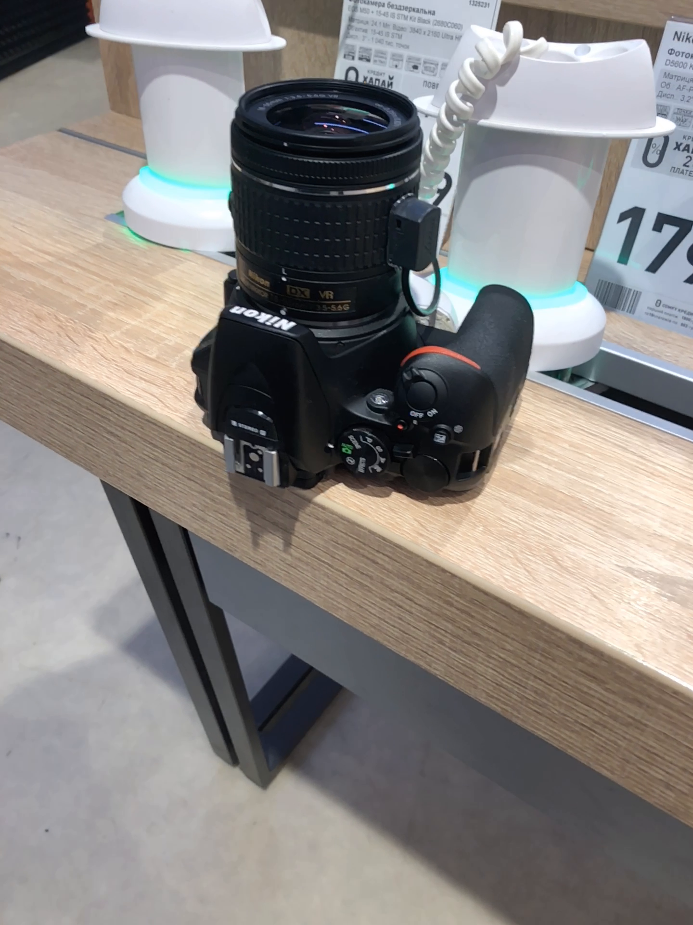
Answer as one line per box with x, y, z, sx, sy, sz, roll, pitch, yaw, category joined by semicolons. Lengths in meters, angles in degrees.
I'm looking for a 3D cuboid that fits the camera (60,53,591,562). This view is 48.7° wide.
0.001;-0.063;0.278;0.132;0.117;0.116;15;44;15;camera
